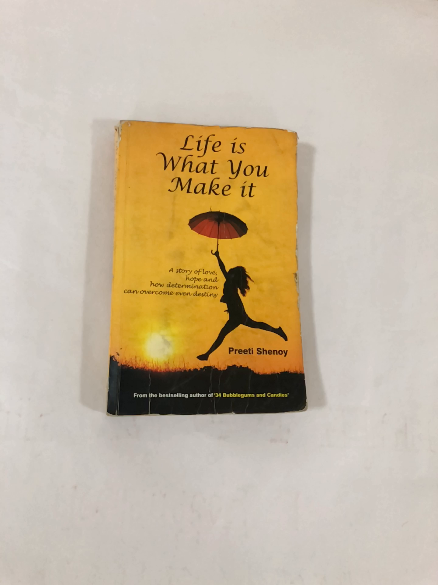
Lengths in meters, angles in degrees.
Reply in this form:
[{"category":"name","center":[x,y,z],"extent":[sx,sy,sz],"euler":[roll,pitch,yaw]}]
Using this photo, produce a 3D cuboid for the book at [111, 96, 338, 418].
[{"category":"book","center":[0.003,-0.026,0.329],"extent":[0.140,0.020,0.210],"euler":[2,77,-11]}]
